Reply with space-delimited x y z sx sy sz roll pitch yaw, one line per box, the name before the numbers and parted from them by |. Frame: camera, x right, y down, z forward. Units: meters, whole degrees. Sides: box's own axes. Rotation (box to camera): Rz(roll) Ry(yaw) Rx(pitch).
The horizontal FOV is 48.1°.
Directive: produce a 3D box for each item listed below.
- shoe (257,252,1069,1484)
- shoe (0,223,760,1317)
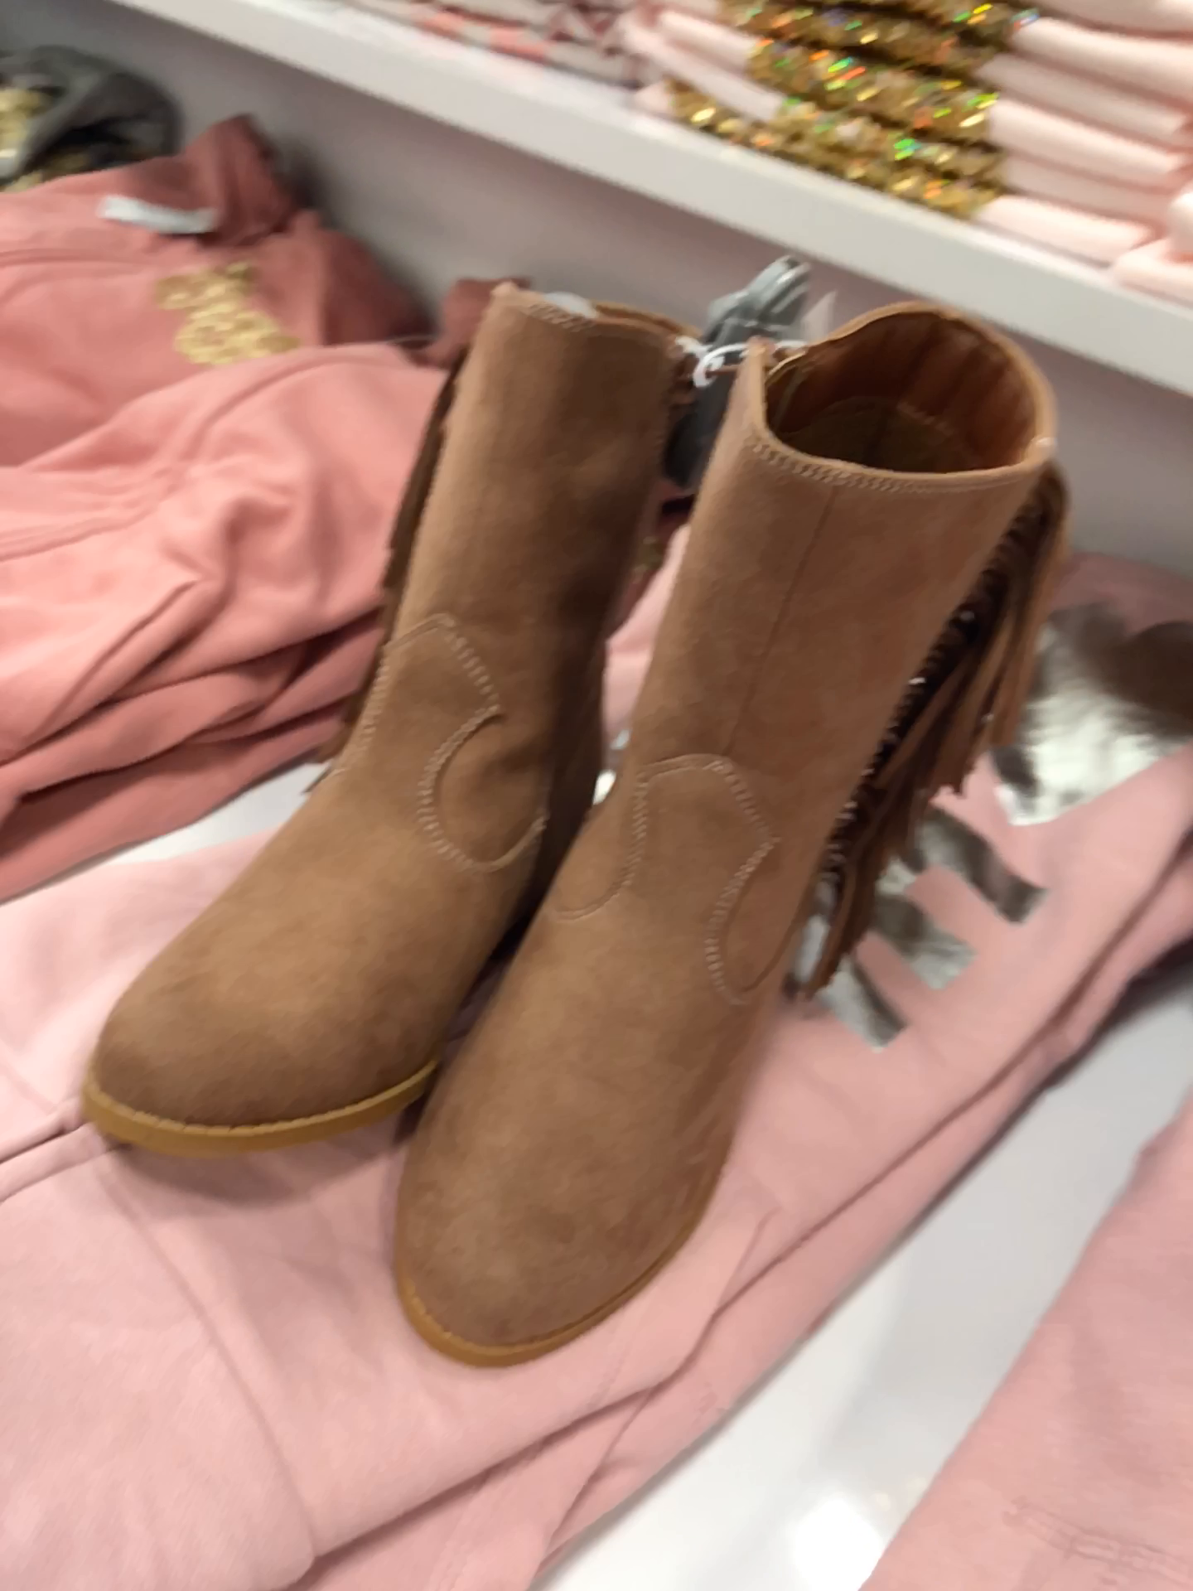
shoe | 0.022 0.002 0.325 0.092 0.199 0.211 20 37 15
shoe | -0.053 -0.025 0.343 0.092 0.199 0.201 20 31 15
